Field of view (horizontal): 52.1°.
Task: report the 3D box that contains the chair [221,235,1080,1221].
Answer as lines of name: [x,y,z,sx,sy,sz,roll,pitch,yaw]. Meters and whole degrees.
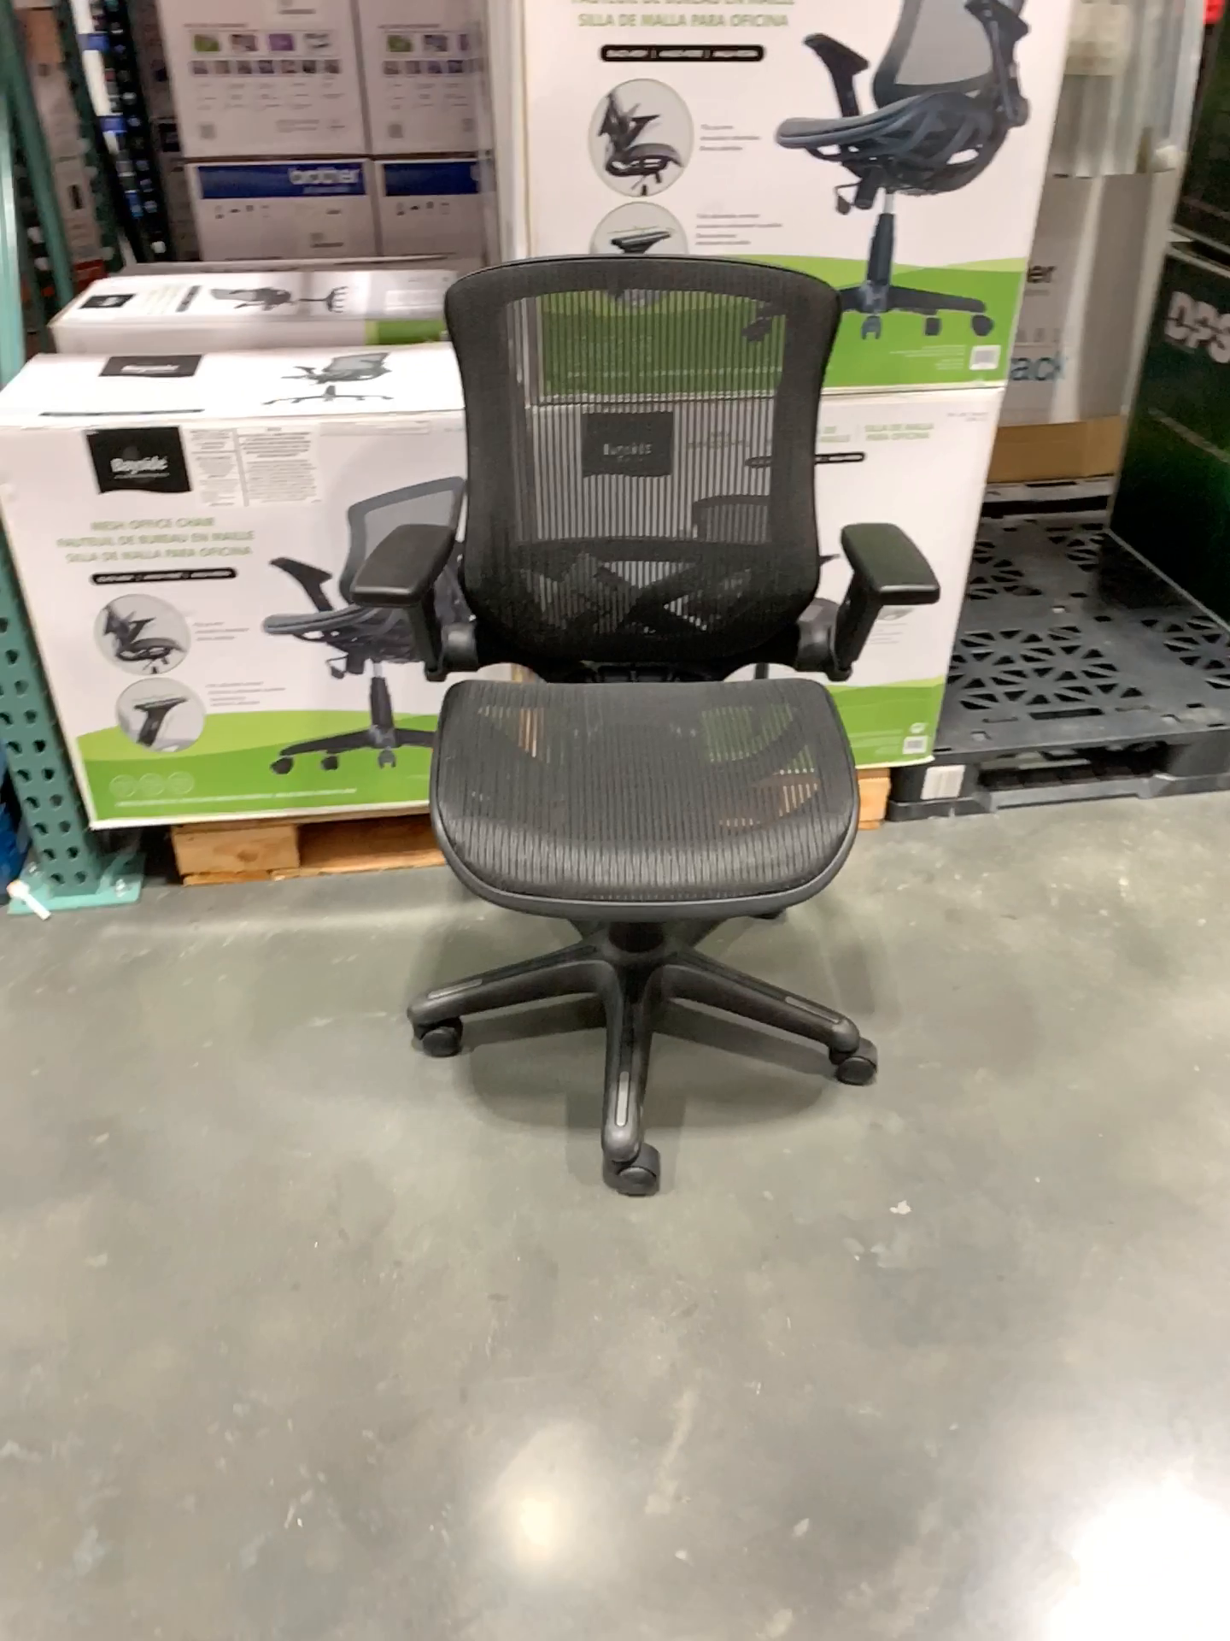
chair: [0.027,-0.123,1.574,0.675,0.987,0.739,0,35,0]
